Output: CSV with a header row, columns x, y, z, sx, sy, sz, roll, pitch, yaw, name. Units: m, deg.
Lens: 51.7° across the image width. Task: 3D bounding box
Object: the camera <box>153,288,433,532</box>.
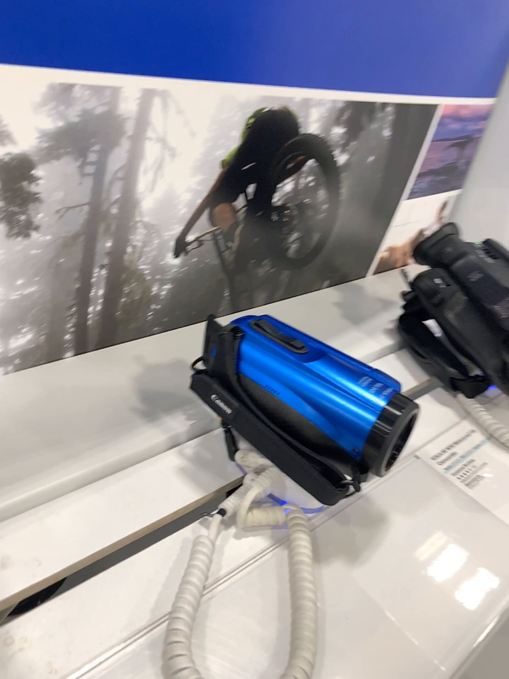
x,y,z,sx,sy,sz,roll,pitch,yaw,name
0.018,0.032,0.315,0.143,0.057,0.073,29,35,27,camera
